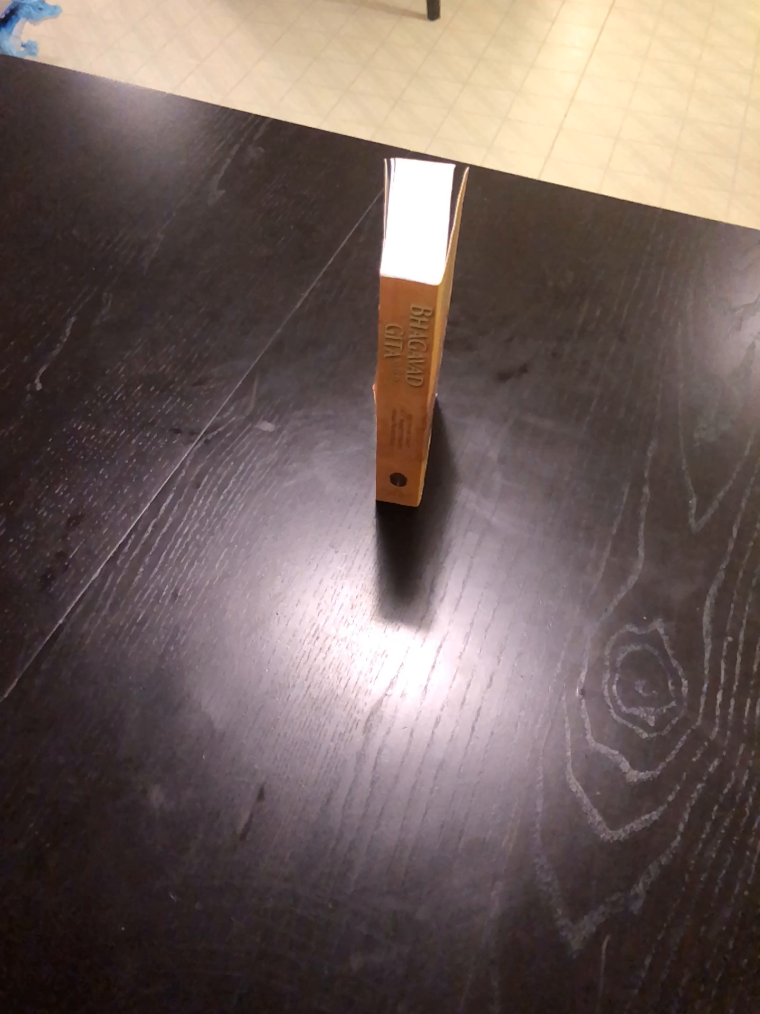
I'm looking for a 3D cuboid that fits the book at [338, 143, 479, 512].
[{"bbox_3d":[0.017,-0.103,0.510,0.059,0.174,0.126,7,53,4],"label":"book"}]
